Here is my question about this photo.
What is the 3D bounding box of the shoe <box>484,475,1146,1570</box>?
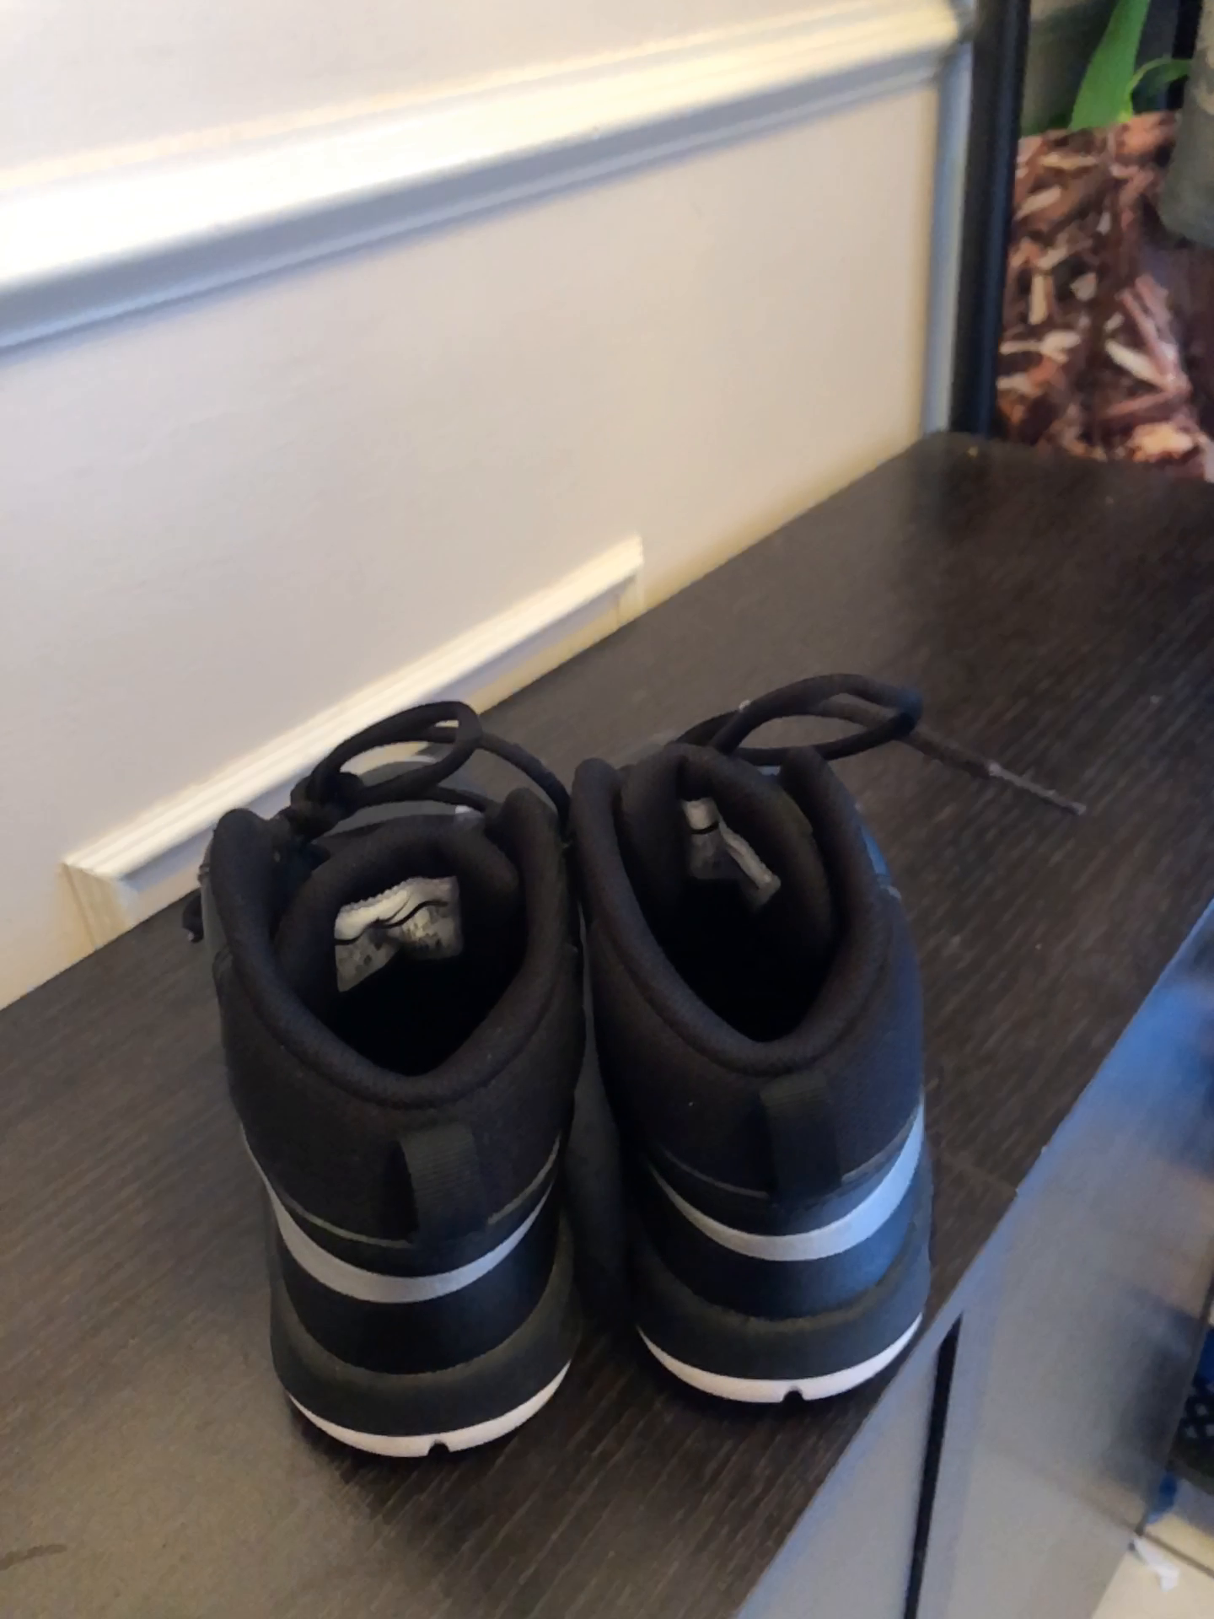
[{"bbox_3d":[0.028,0.026,0.343,0.100,0.129,0.252,-5,34,-1],"label":"shoe"}]

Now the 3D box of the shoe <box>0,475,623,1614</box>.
[{"bbox_3d":[-0.071,0.028,0.345,0.100,0.129,0.262,-8,34,-6],"label":"shoe"}]
